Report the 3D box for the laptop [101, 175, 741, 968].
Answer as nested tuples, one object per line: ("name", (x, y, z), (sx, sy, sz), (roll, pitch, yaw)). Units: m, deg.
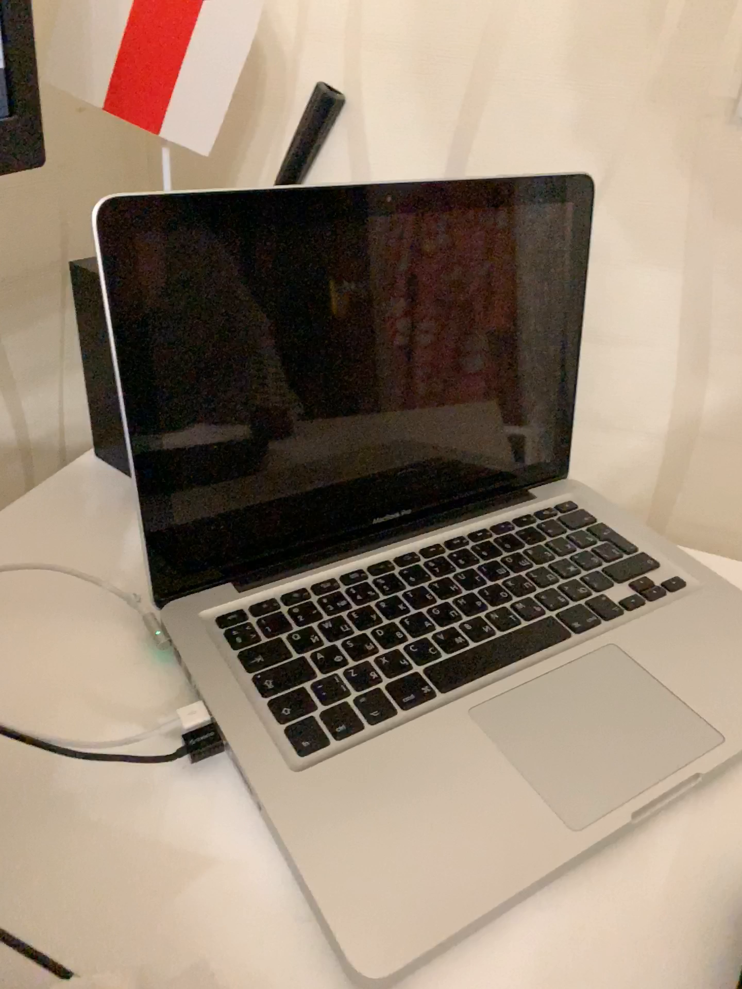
("laptop", (0.068, -0.019, 0.373), (0.301, 0.196, 0.250), (-16, 38, -29))
